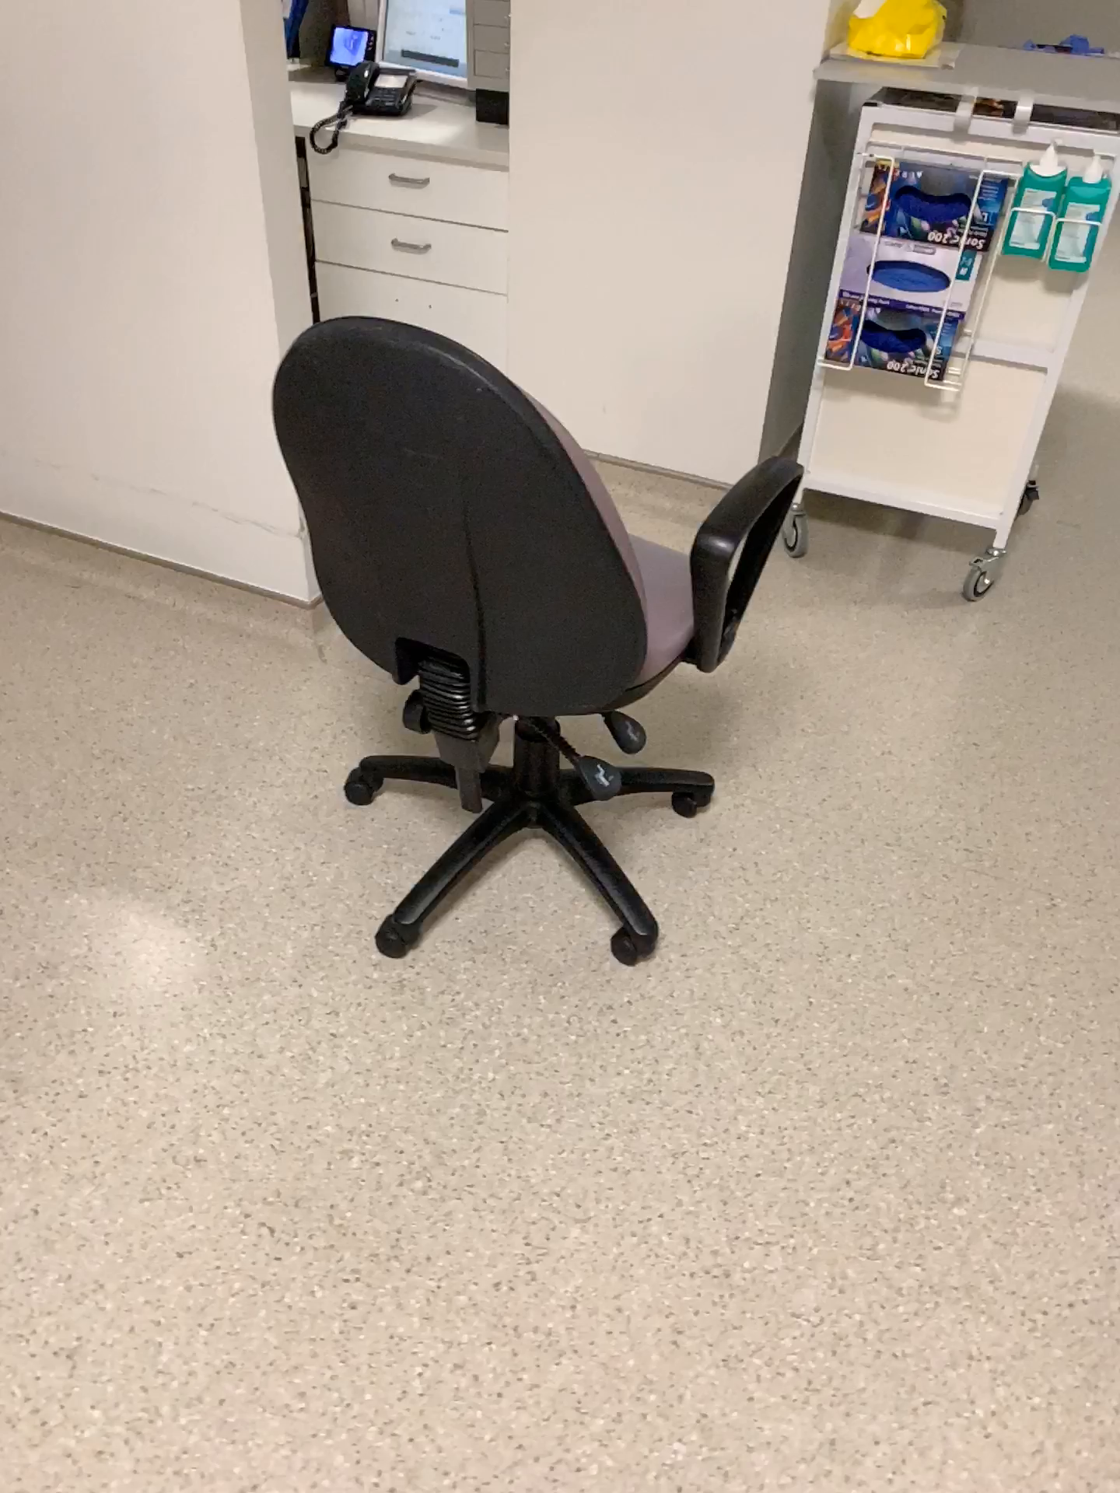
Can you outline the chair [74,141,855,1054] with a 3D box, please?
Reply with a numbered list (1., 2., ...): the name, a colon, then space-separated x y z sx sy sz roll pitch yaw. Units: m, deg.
1. chair: -0.075 -0.225 1.544 0.633 0.899 0.659 17 40 18
